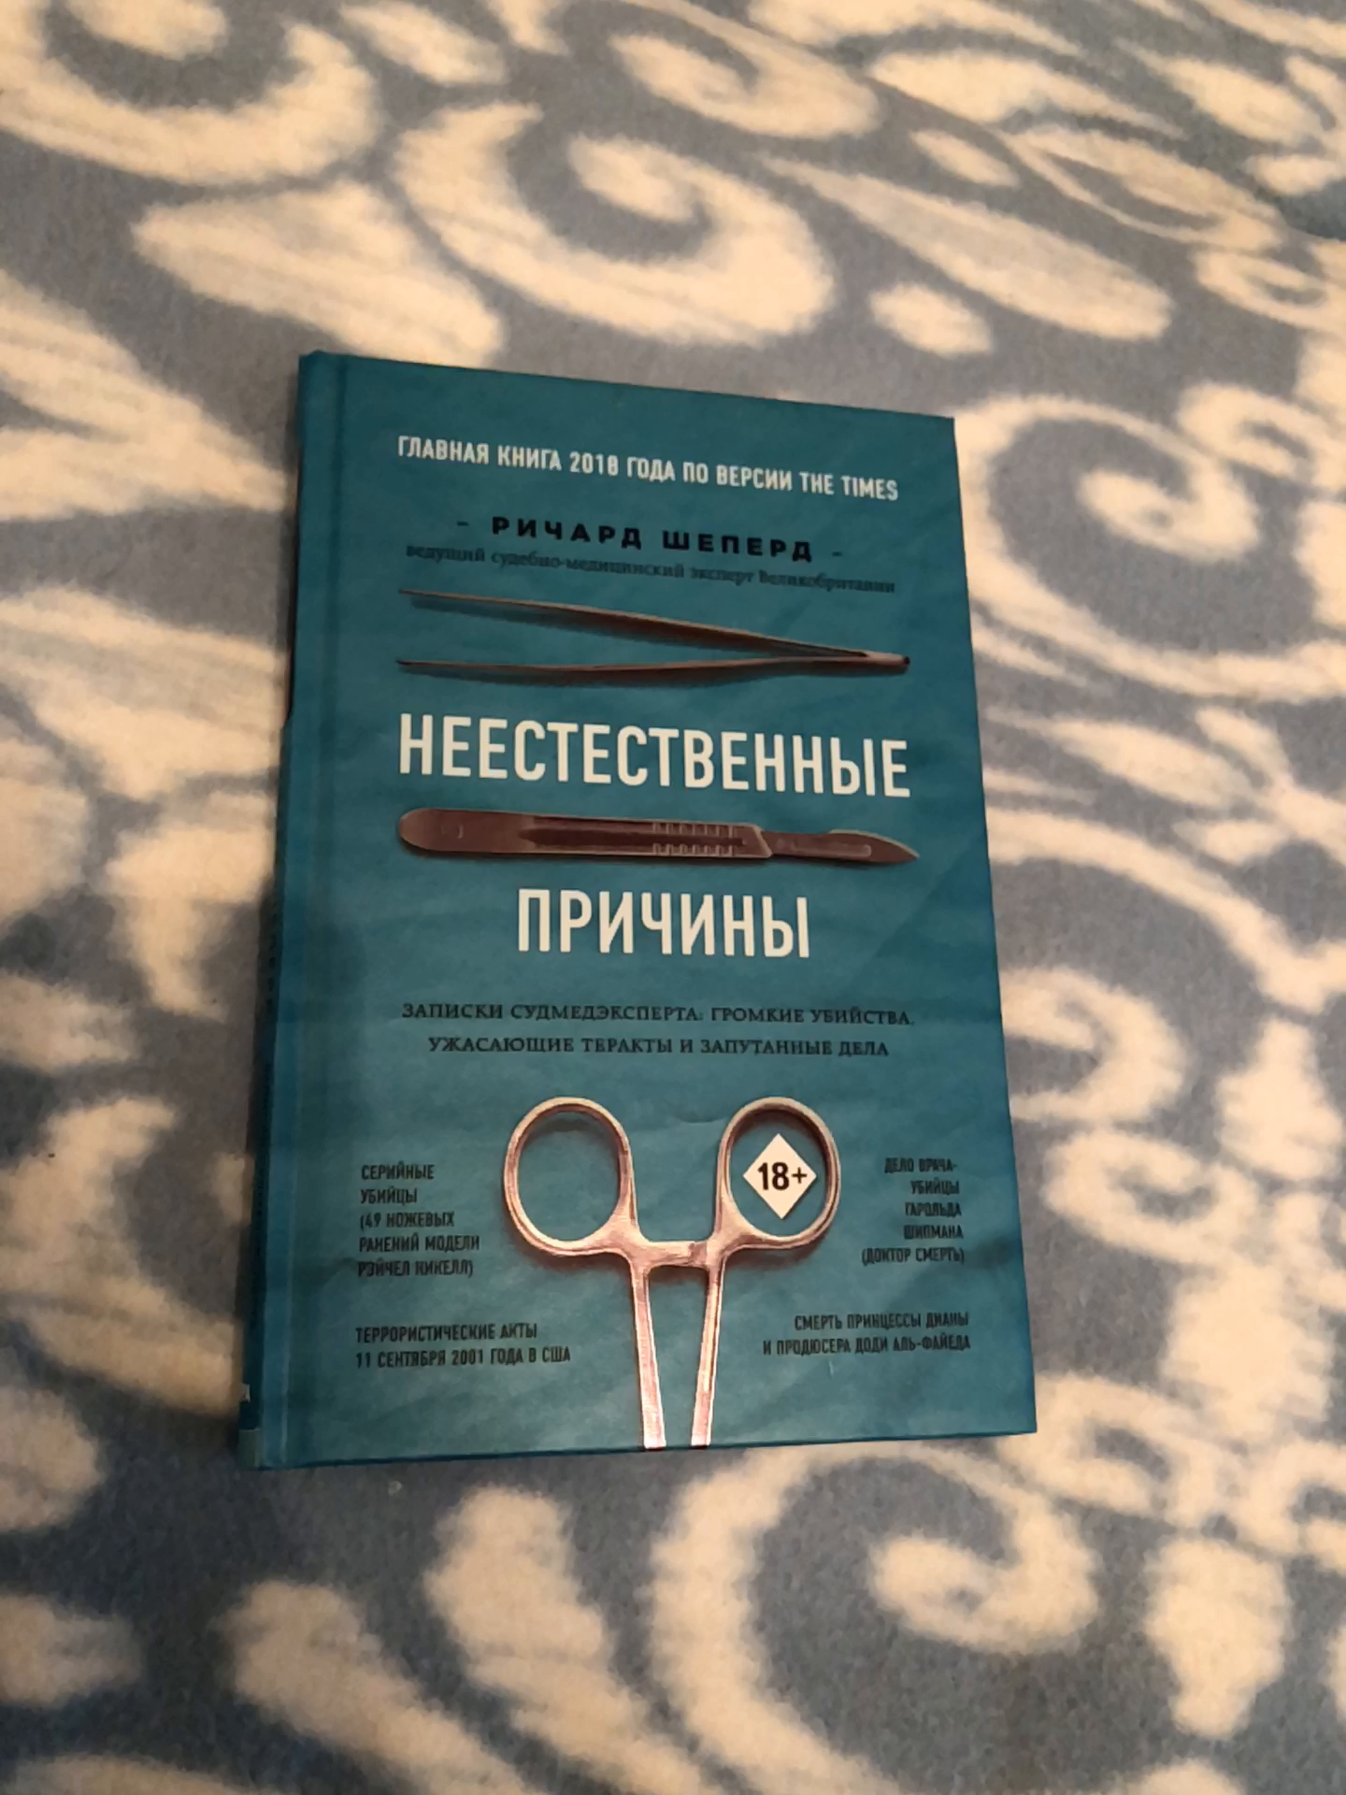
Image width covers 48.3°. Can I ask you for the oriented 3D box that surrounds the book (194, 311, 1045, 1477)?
[{"bbox_3d":[-0.010,-0.006,0.298,0.149,0.025,0.218,2,74,-13],"label":"book"}]
